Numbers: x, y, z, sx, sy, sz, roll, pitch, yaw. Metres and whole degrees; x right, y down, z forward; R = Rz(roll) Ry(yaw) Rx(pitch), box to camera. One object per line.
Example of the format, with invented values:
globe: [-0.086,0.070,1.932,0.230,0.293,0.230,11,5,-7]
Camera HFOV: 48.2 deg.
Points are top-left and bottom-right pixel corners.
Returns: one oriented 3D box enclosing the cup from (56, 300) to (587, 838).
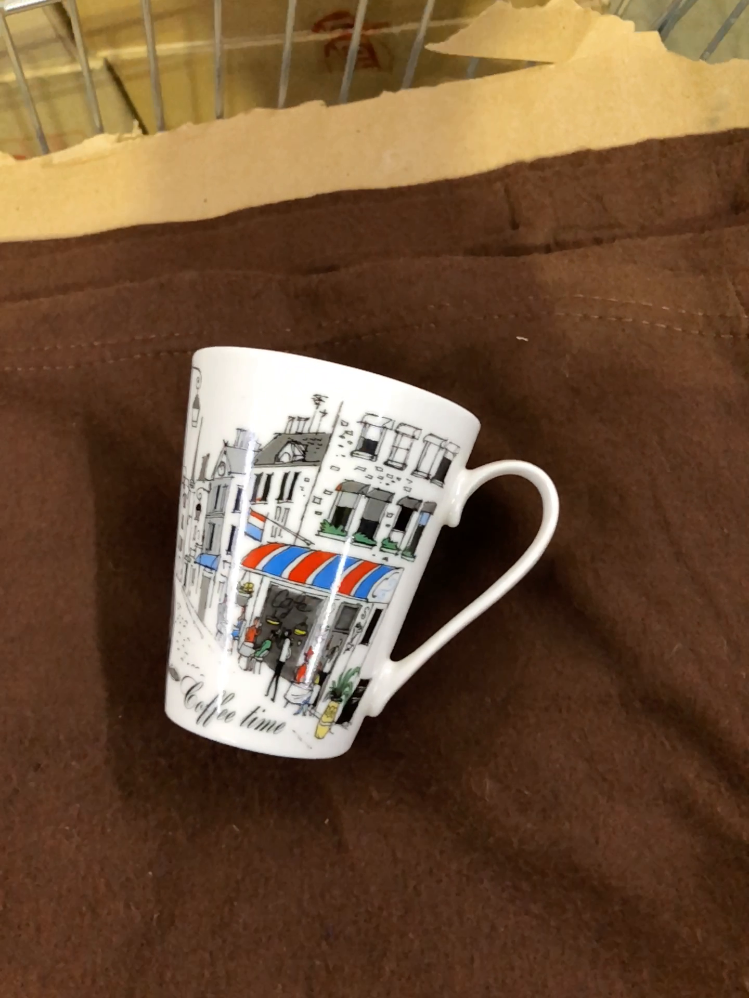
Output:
cup: [-0.009,0.017,0.245,0.110,0.080,0.110,-1,83,8]
